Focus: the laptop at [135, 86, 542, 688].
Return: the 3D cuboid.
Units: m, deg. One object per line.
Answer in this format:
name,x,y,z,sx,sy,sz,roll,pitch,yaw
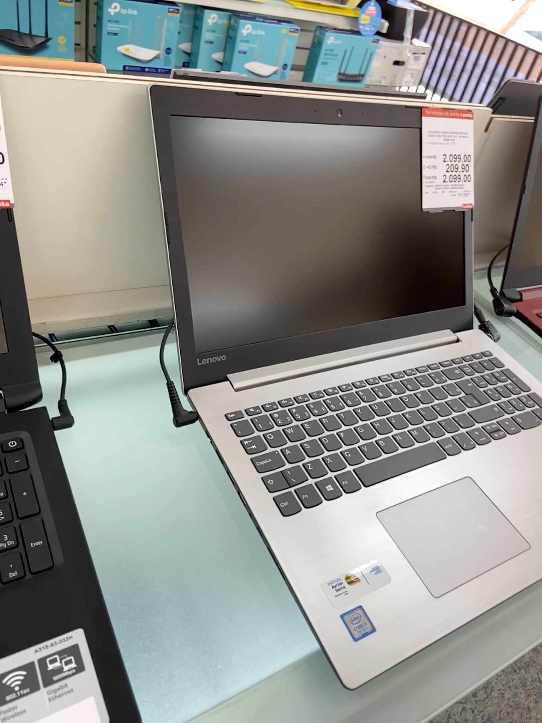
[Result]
laptop,0.133,-0.045,0.467,0.371,0.194,0.390,-11,47,-29
